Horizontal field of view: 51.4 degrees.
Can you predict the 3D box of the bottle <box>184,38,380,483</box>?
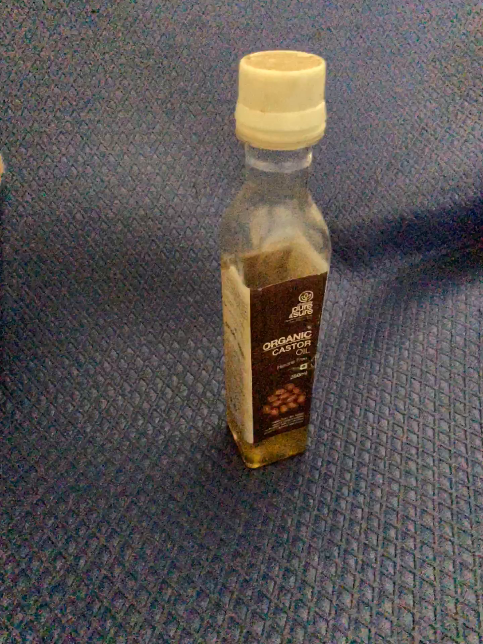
[{"bbox_3d":[0.014,-0.012,0.232,0.050,0.198,0.050,-1,38,1],"label":"bottle"}]
